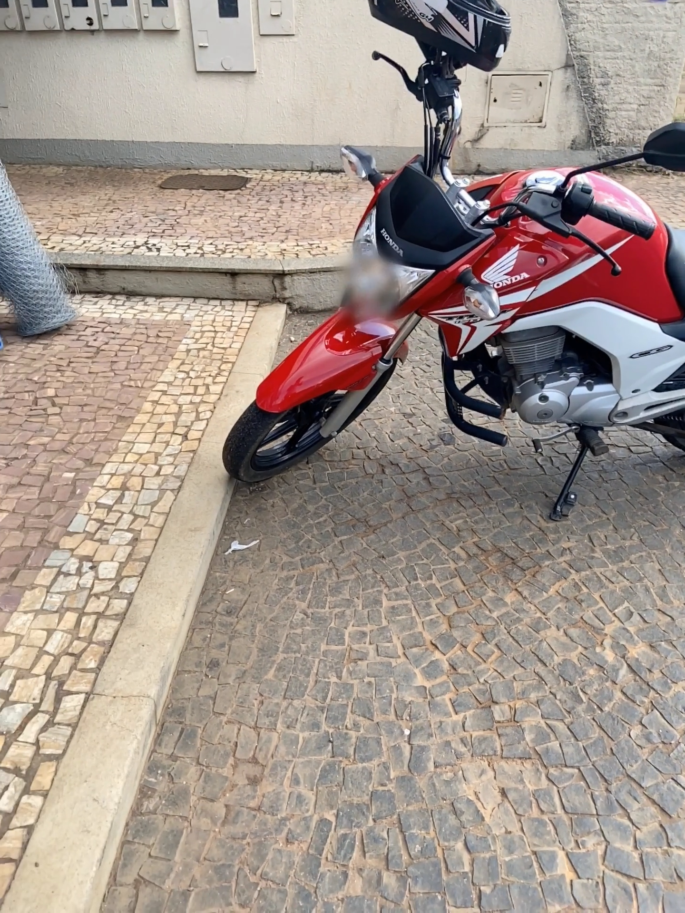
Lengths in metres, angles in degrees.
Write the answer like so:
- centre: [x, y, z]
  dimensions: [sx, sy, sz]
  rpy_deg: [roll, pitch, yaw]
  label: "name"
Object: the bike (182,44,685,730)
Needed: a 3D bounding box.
- centre: [0.730, -0.281, 1.876]
  dimensions: [2.071, 1.382, 0.814]
  rpy_deg: [-8, 33, -12]
  label: "bike"
